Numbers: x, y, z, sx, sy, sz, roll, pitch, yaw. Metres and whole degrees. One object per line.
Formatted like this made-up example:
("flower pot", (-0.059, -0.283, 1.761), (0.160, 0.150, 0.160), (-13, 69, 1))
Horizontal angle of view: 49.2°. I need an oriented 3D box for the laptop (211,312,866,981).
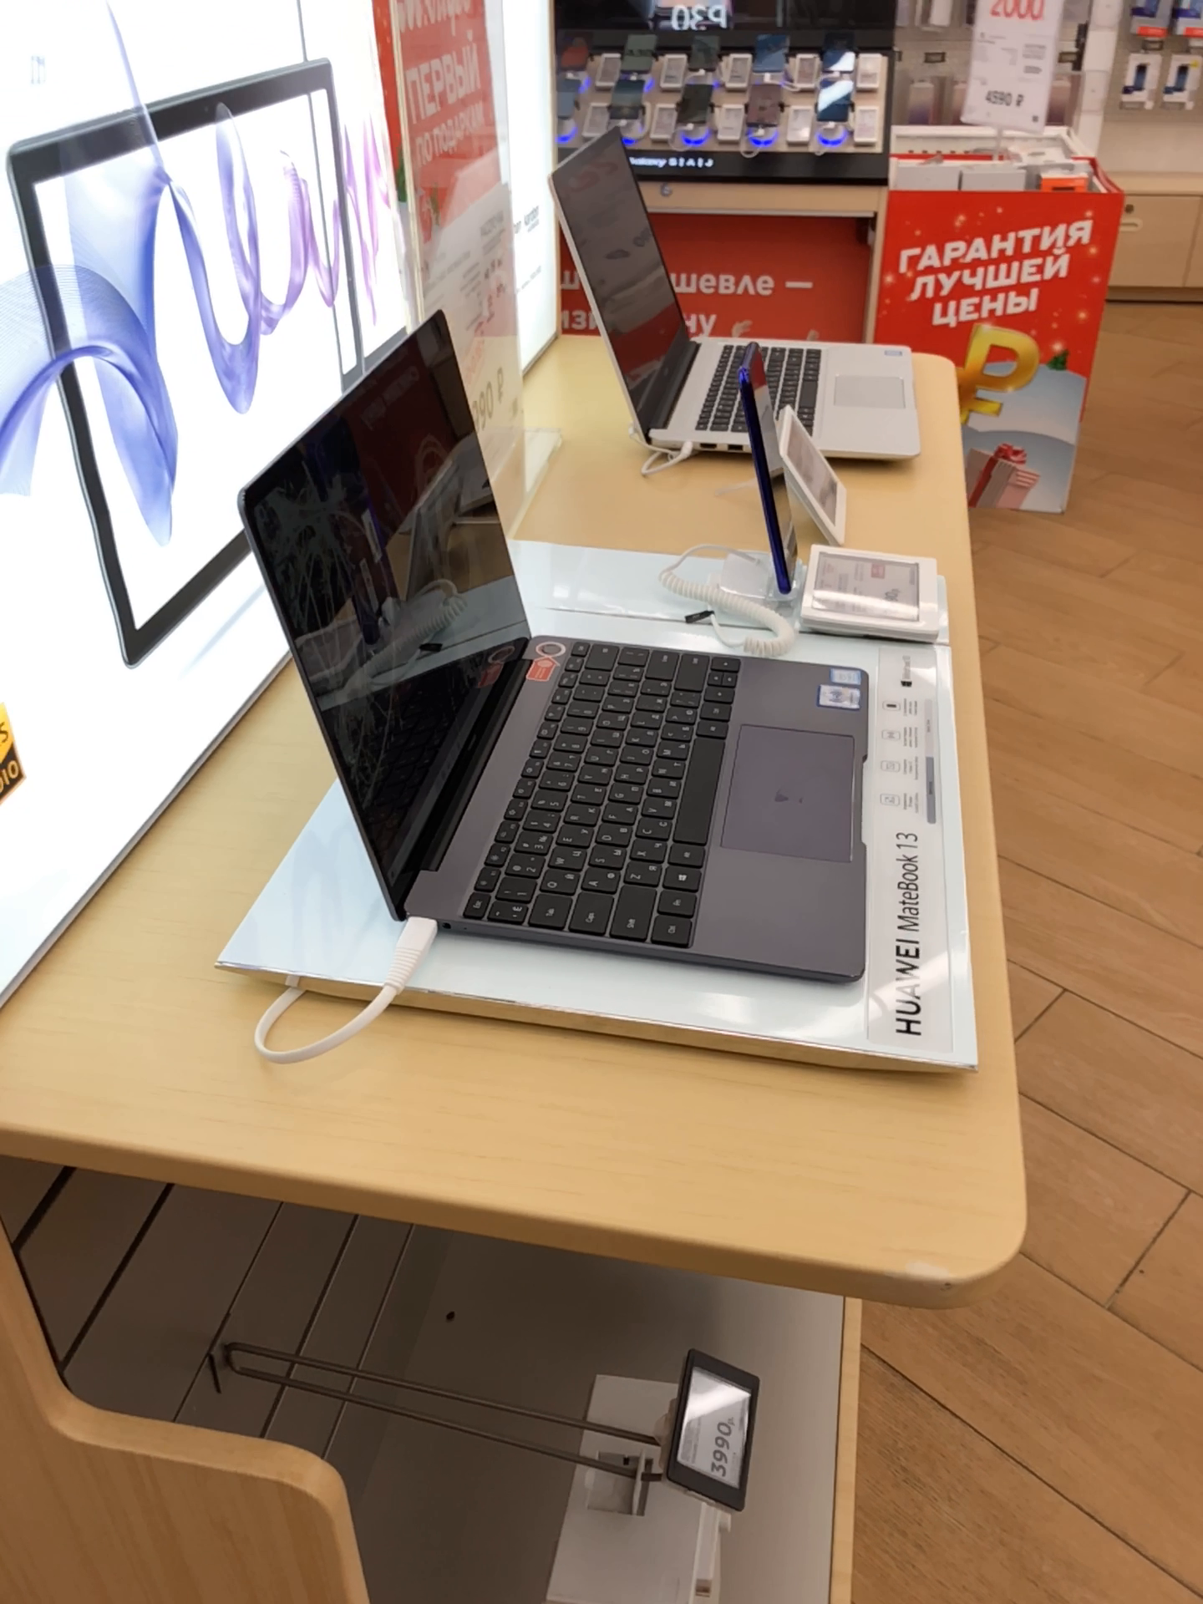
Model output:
("laptop", (-0.003, -0.096, 0.647), (0.244, 0.192, 0.276), (7, 34, 8))
